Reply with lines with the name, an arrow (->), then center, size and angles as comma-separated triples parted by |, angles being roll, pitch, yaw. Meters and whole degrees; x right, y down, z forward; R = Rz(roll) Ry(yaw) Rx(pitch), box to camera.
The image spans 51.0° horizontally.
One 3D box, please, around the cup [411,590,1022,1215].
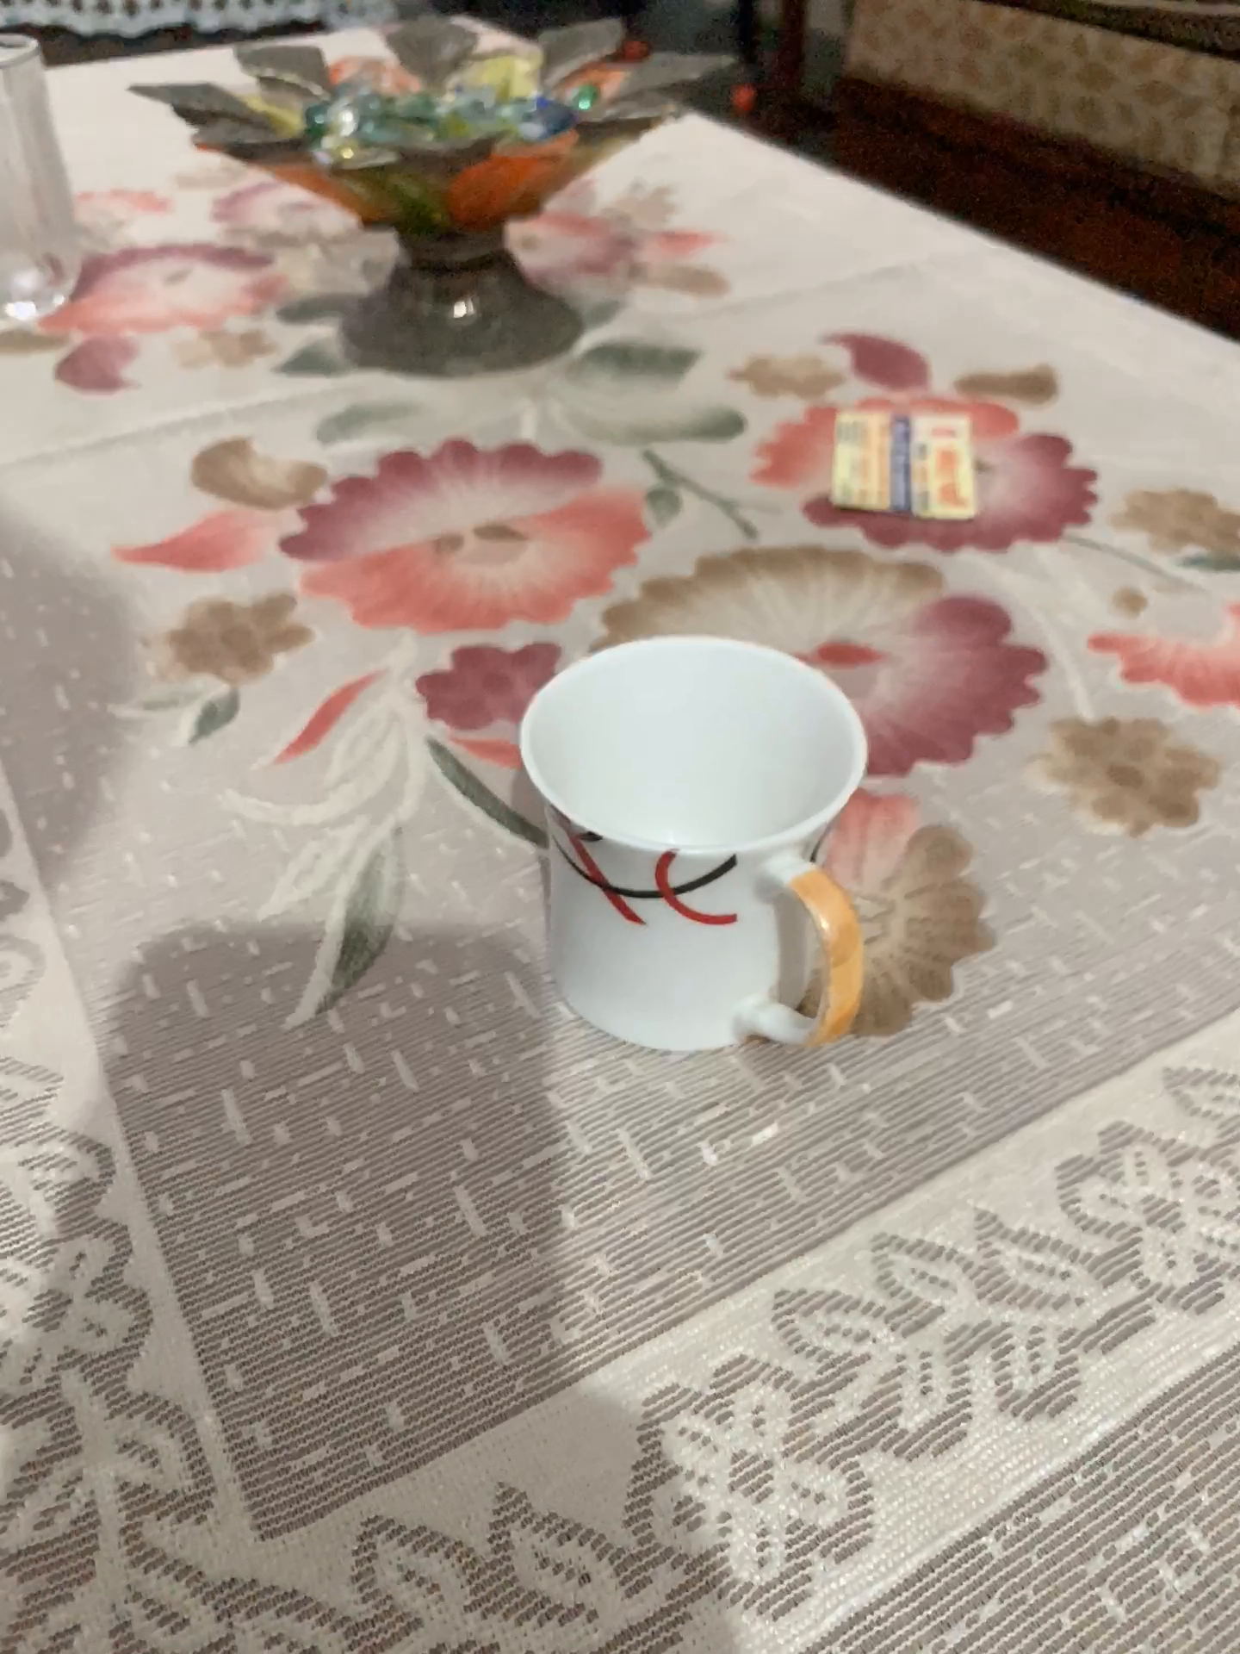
cup -> 0.015, 0.009, 0.255 | 0.070, 0.060, 0.090 | -25, 47, -25
